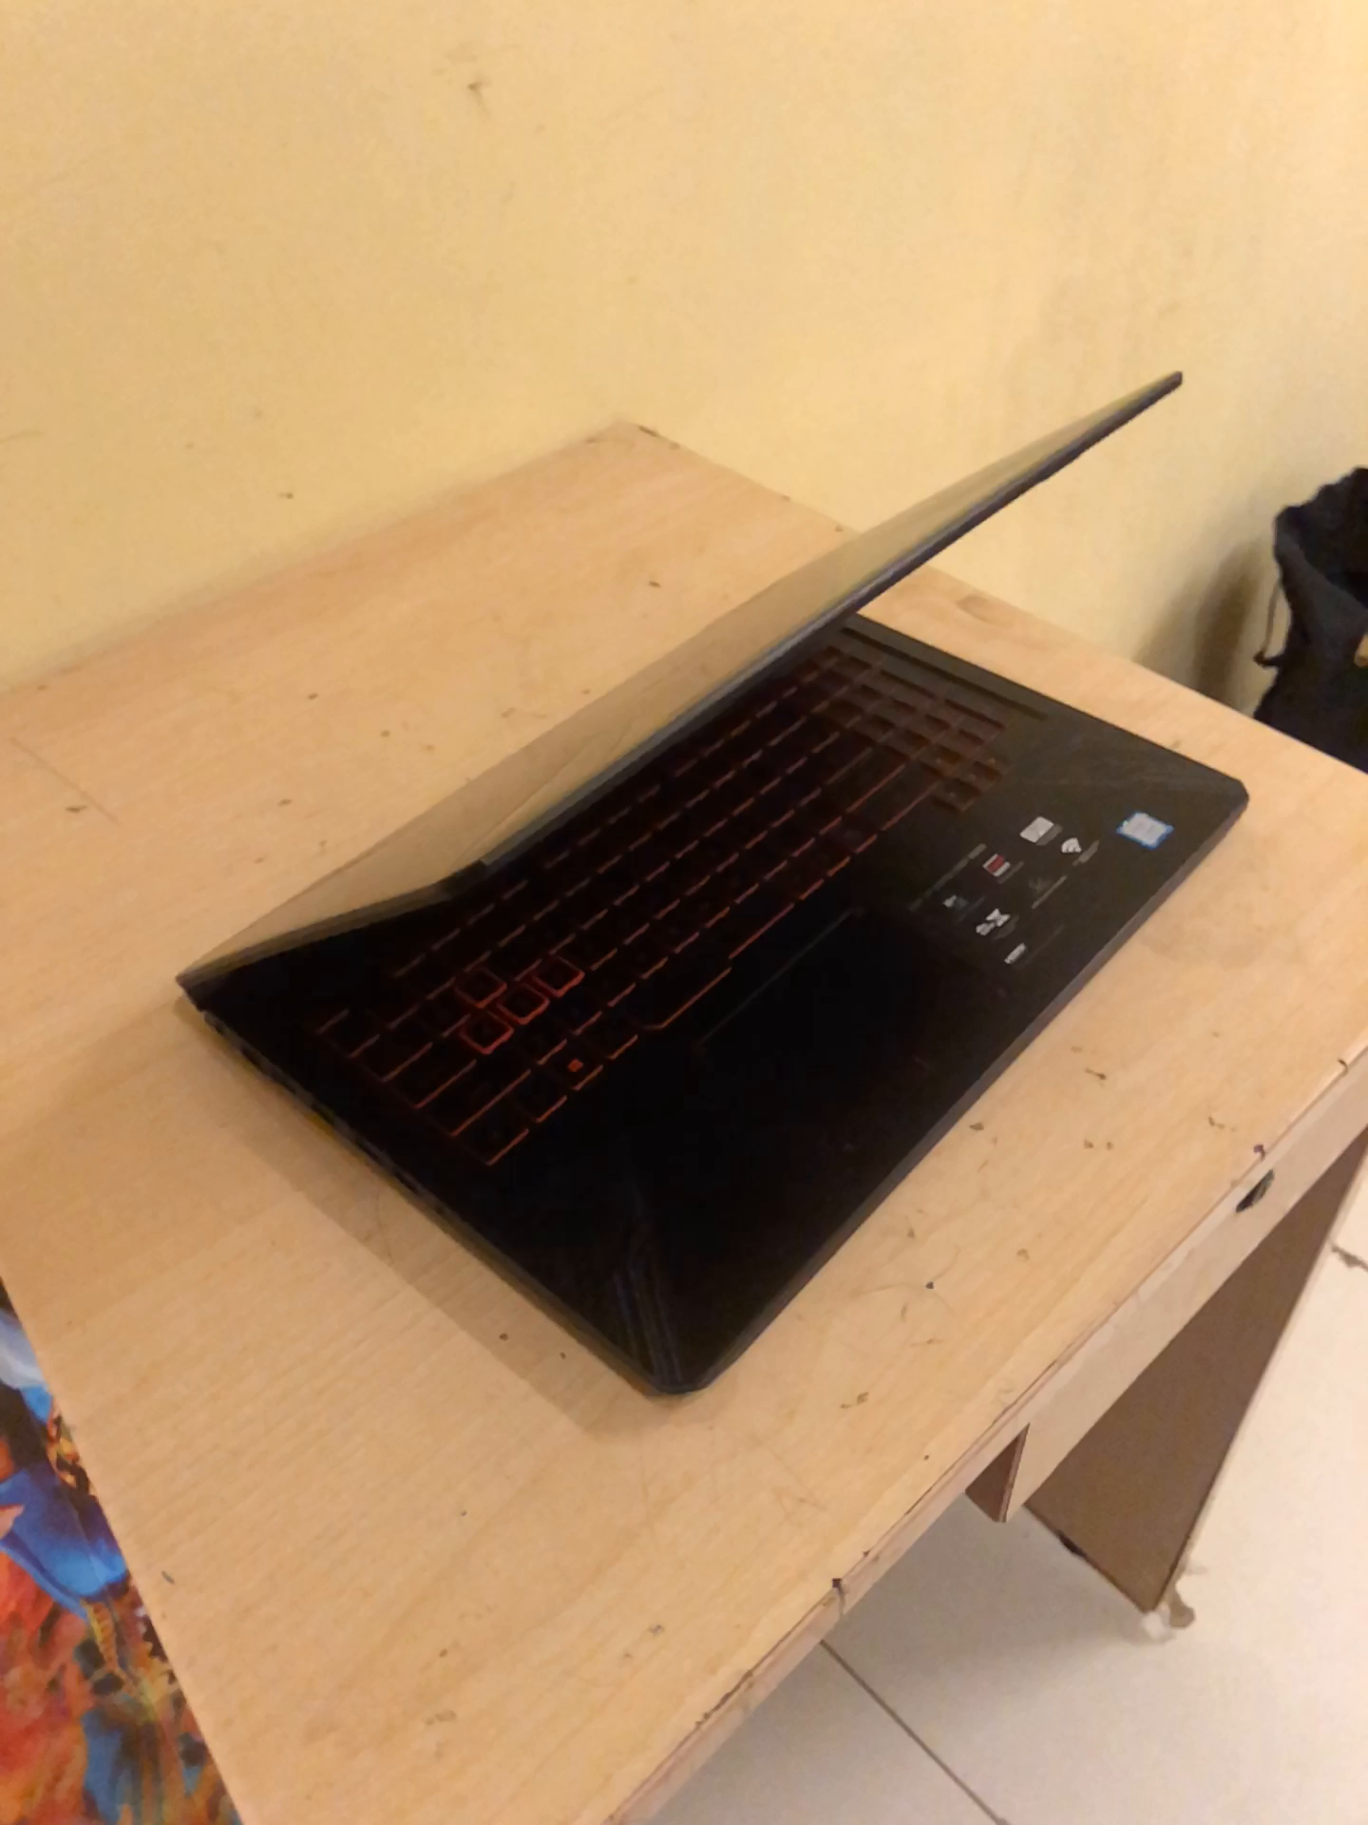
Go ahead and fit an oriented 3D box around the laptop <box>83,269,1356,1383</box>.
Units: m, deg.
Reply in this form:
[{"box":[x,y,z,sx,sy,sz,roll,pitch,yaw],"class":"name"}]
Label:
[{"box":[0.029,-0.071,0.570,0.252,0.173,0.371,30,52,30],"class":"laptop"}]
